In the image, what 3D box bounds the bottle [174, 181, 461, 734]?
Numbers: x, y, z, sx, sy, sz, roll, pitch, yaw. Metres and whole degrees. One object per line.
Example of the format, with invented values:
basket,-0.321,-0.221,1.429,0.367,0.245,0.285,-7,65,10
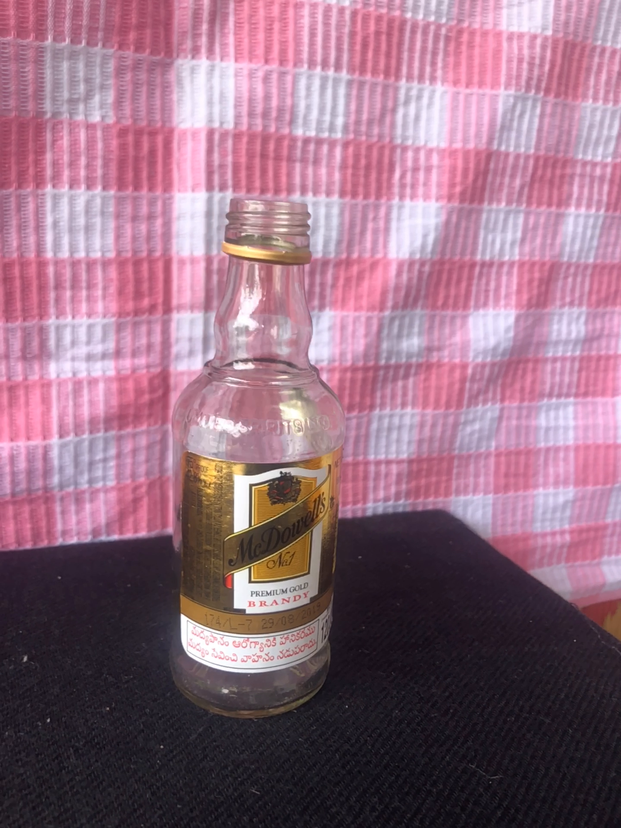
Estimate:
bottle,-0.005,0.012,0.209,0.060,0.149,0.050,0,17,-18
